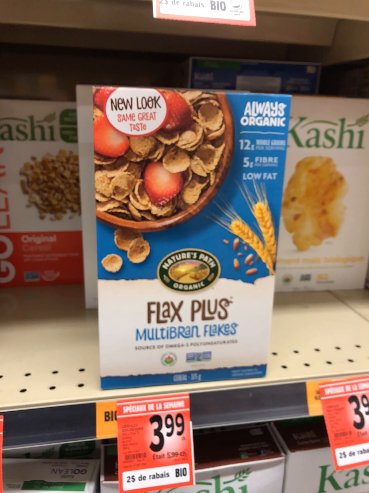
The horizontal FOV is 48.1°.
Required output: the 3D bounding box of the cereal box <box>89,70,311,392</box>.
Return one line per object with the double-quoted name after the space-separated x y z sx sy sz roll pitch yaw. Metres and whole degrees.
0.006 -0.010 0.382 0.170 0.269 0.070 -1 17 -9 "cereal box"
